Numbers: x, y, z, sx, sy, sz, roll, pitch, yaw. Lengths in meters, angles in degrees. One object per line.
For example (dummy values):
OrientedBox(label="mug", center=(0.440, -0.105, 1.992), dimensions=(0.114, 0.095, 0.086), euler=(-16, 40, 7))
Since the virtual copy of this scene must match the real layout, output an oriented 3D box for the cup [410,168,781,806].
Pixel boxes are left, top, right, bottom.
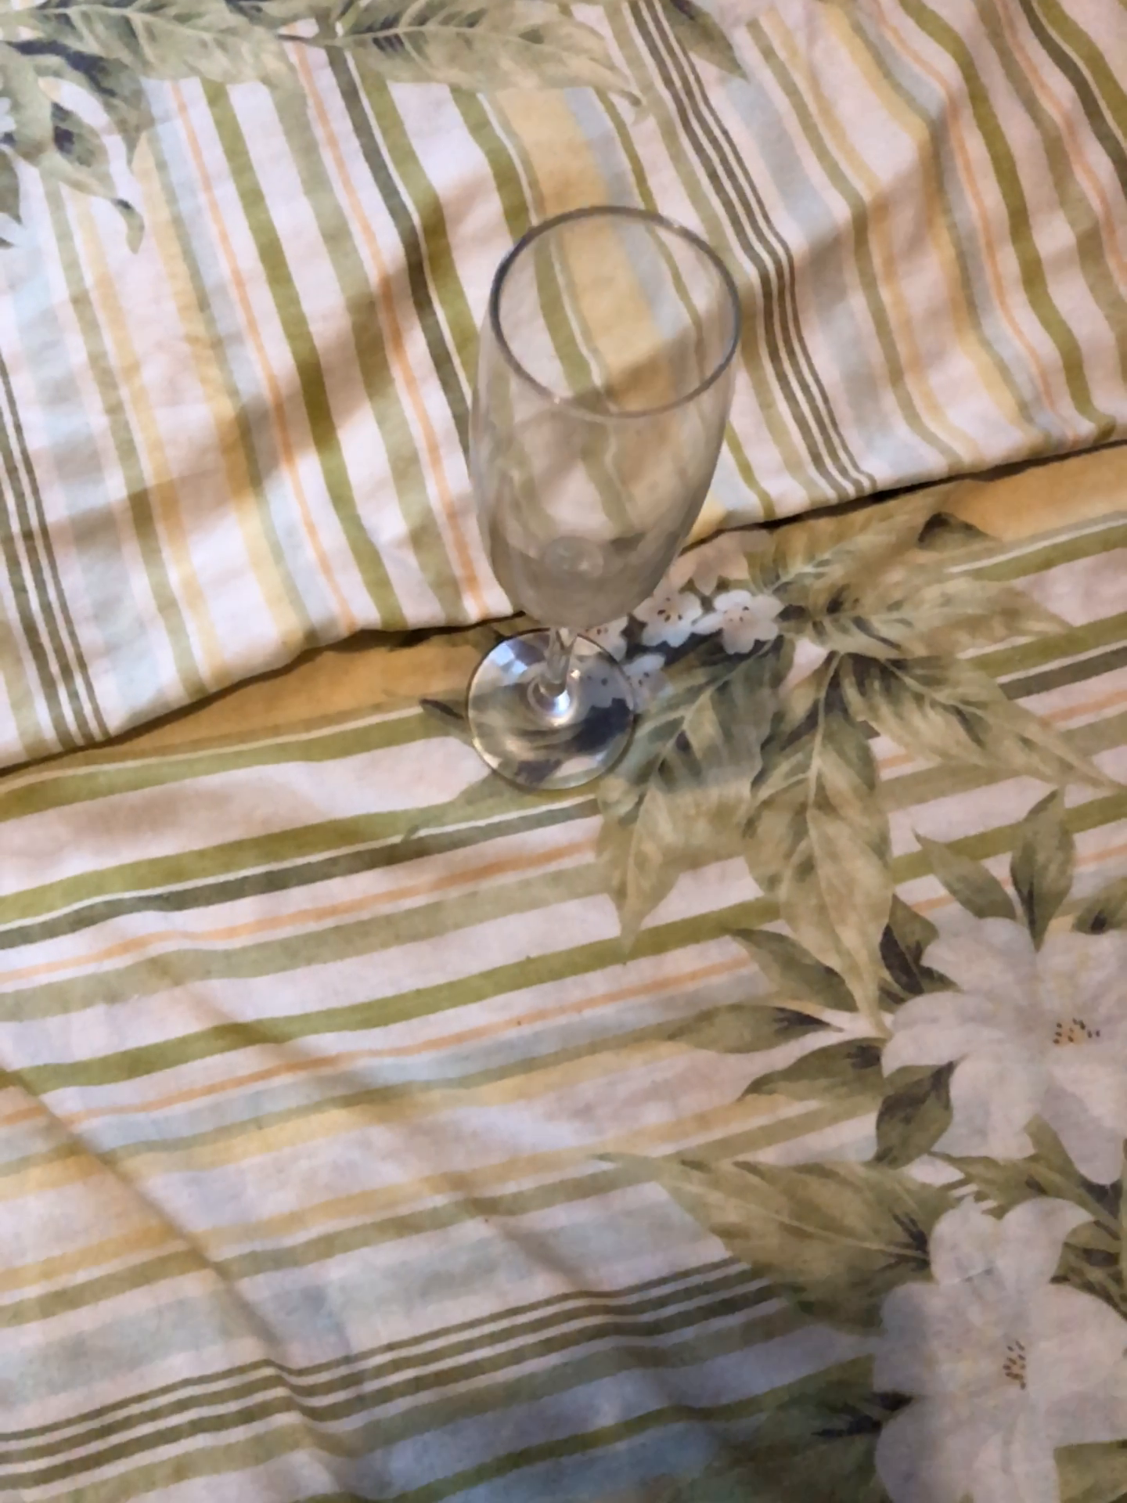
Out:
OrientedBox(label="cup", center=(0.001, -0.051, 0.355), dimensions=(0.071, 0.218, 0.082), euler=(1, 74, -3))
